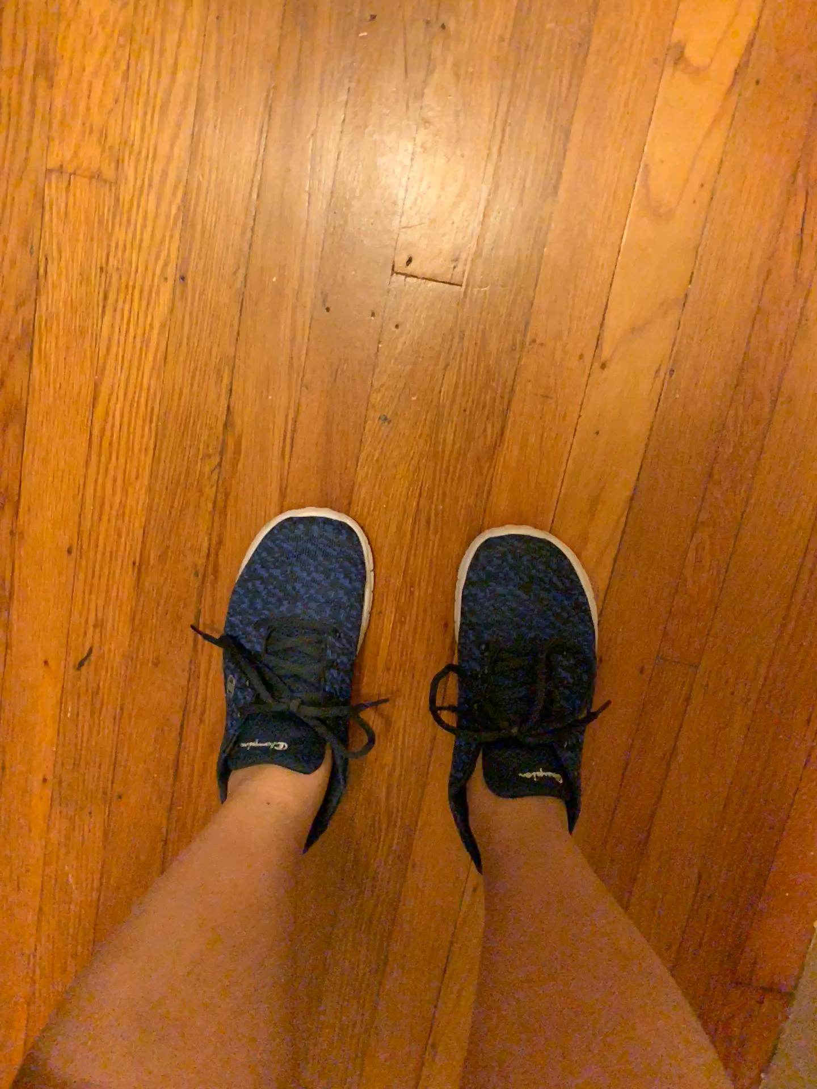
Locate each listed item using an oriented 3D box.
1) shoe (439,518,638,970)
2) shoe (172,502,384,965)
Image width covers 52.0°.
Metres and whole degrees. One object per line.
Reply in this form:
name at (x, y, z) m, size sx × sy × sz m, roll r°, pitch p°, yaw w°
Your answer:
shoe at (0.085, 0.132, 0.592) m, size 0.117 × 0.130 × 0.280 m, roll -1°, pitch 103°, yaw 4°
shoe at (-0.083, 0.126, 0.613) m, size 0.115 × 0.150 × 0.290 m, roll 2°, pitch 103°, yaw 4°
